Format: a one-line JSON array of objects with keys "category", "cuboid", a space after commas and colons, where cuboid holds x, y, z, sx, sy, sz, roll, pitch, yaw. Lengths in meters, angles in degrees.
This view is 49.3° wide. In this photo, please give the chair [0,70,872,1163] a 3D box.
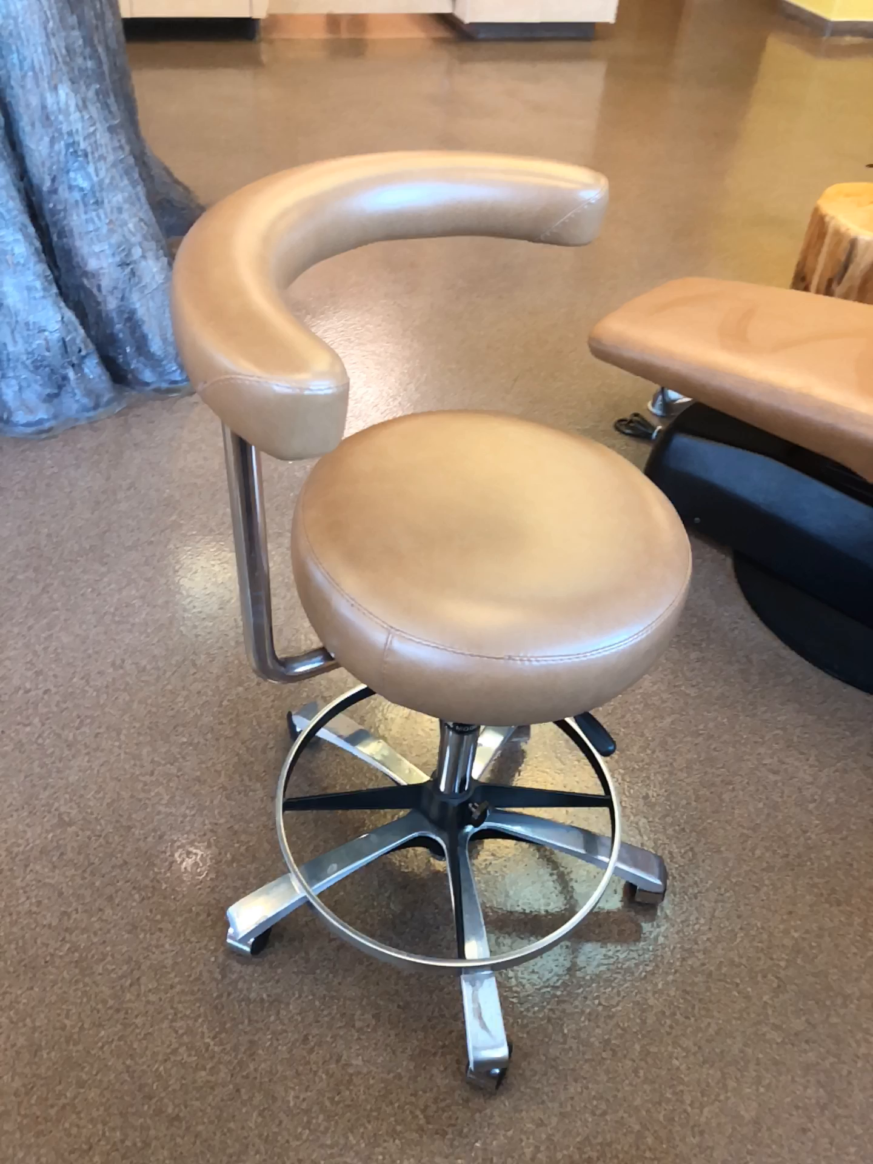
[{"category": "chair", "cuboid": [0.039, 0.041, 0.974, 0.591, 0.805, 0.613, 25, 46, 20]}]
